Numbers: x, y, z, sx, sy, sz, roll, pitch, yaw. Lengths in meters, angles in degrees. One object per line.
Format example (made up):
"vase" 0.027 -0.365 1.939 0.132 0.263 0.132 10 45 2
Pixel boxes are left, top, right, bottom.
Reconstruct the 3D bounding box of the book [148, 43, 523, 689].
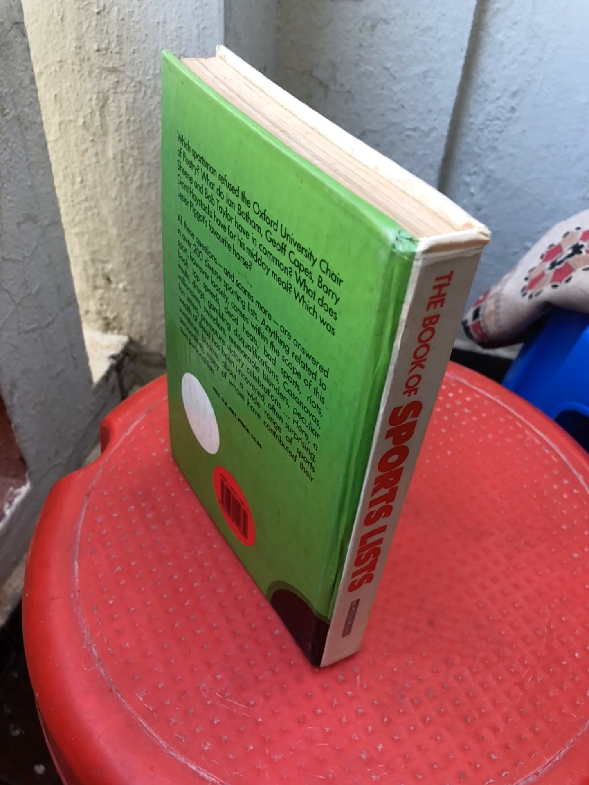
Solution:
"book" -0.007 -0.001 0.269 0.030 0.219 0.150 -20 48 -27
